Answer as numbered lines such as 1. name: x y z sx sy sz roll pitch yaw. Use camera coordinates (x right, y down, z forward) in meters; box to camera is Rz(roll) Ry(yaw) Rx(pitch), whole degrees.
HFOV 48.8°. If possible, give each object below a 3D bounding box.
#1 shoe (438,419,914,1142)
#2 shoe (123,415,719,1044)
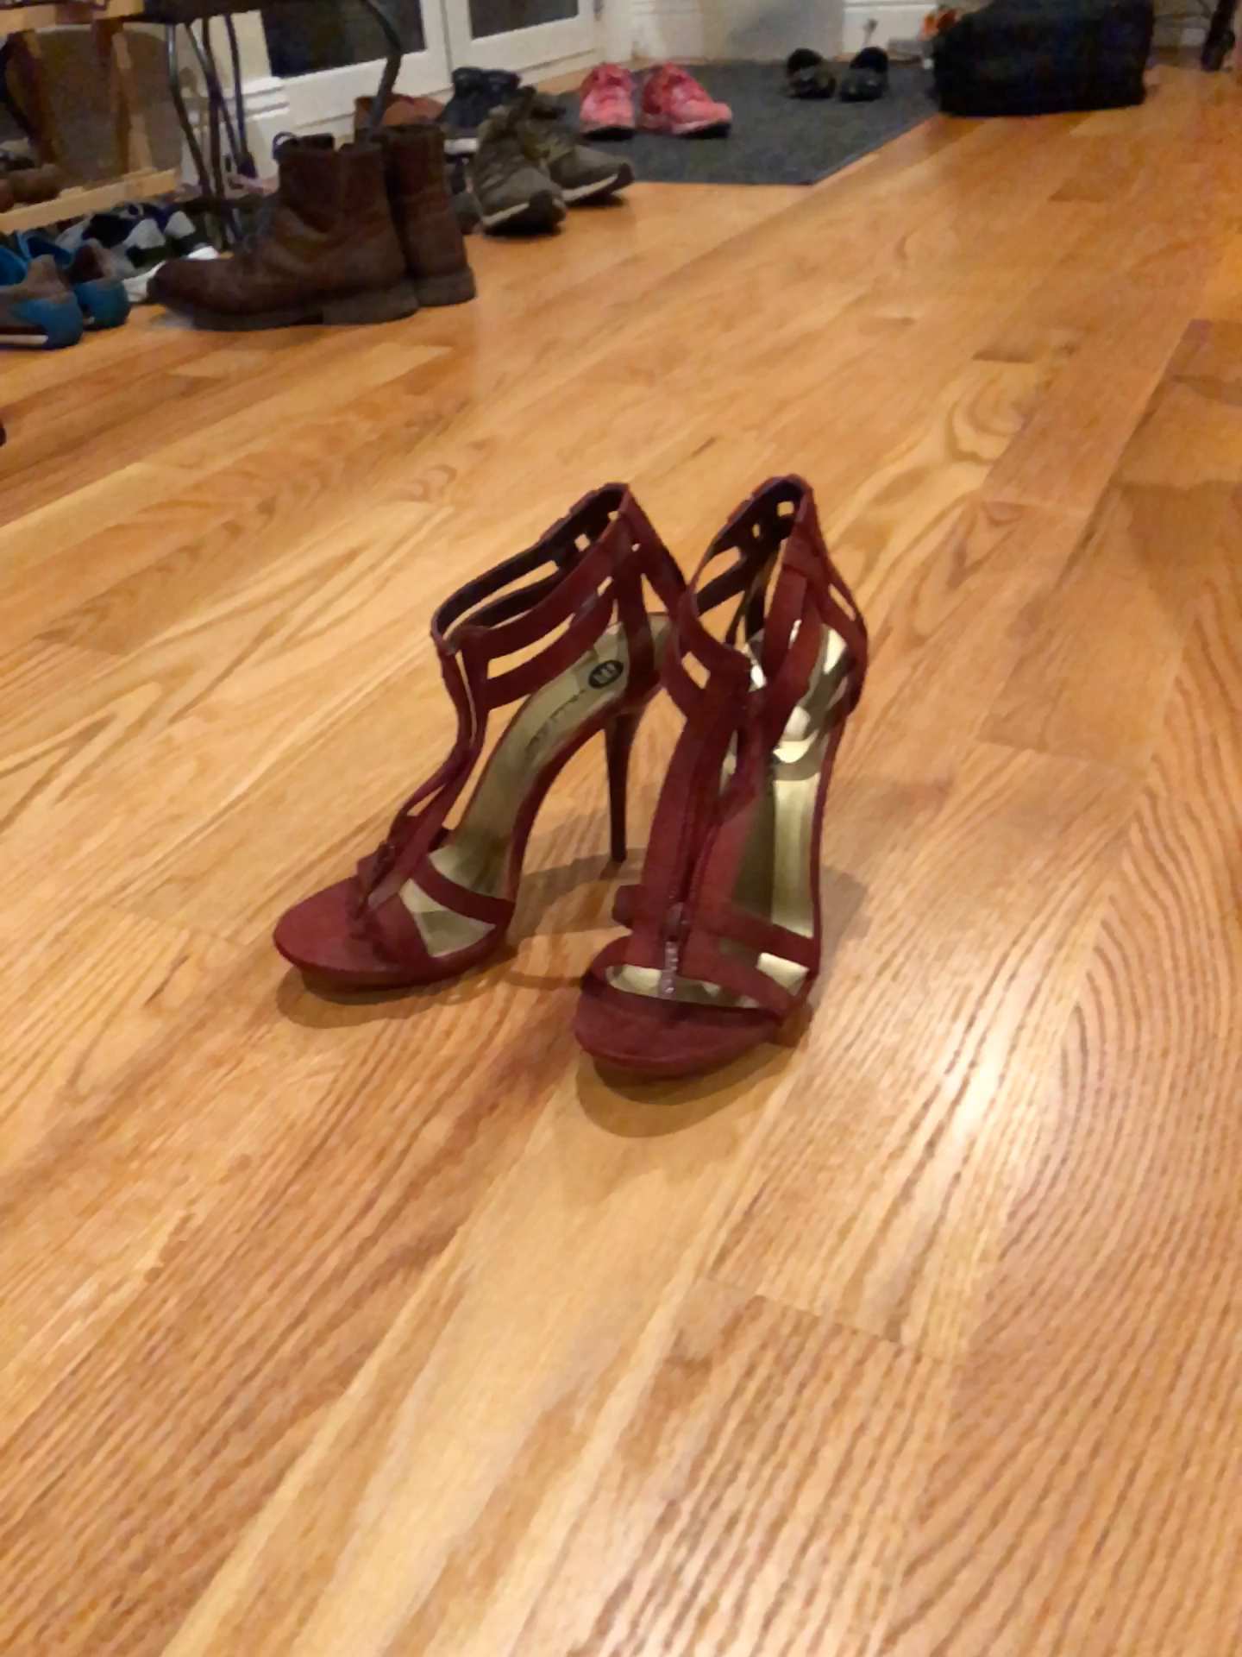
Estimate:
1. shoe: 0.034 -0.029 0.508 0.085 0.175 0.207 12 37 23
2. shoe: -0.066 -0.046 0.551 0.199 0.175 0.085 -26 39 -29
